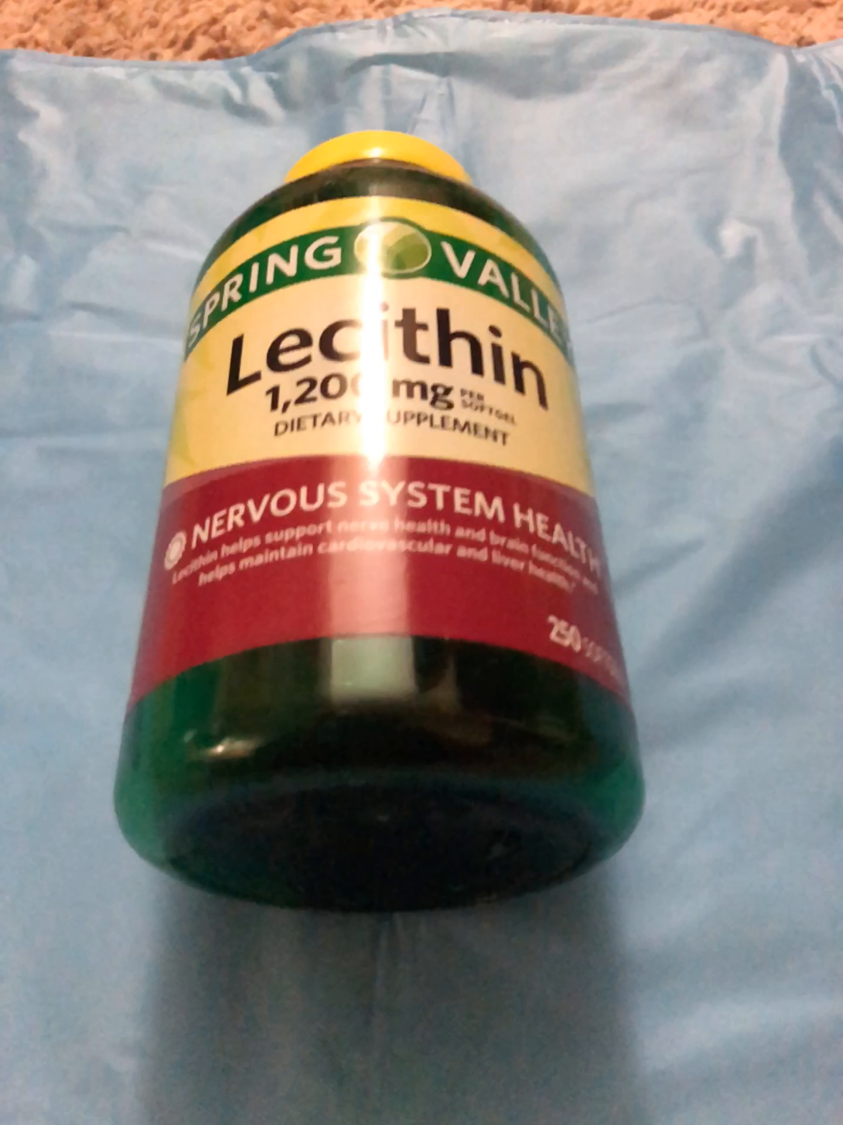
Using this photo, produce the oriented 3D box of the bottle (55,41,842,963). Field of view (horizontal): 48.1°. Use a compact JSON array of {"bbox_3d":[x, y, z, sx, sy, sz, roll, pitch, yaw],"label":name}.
[{"bbox_3d":[0.006,-0.016,0.200,0.100,0.090,0.170,-2,57,2],"label":"bottle"}]
